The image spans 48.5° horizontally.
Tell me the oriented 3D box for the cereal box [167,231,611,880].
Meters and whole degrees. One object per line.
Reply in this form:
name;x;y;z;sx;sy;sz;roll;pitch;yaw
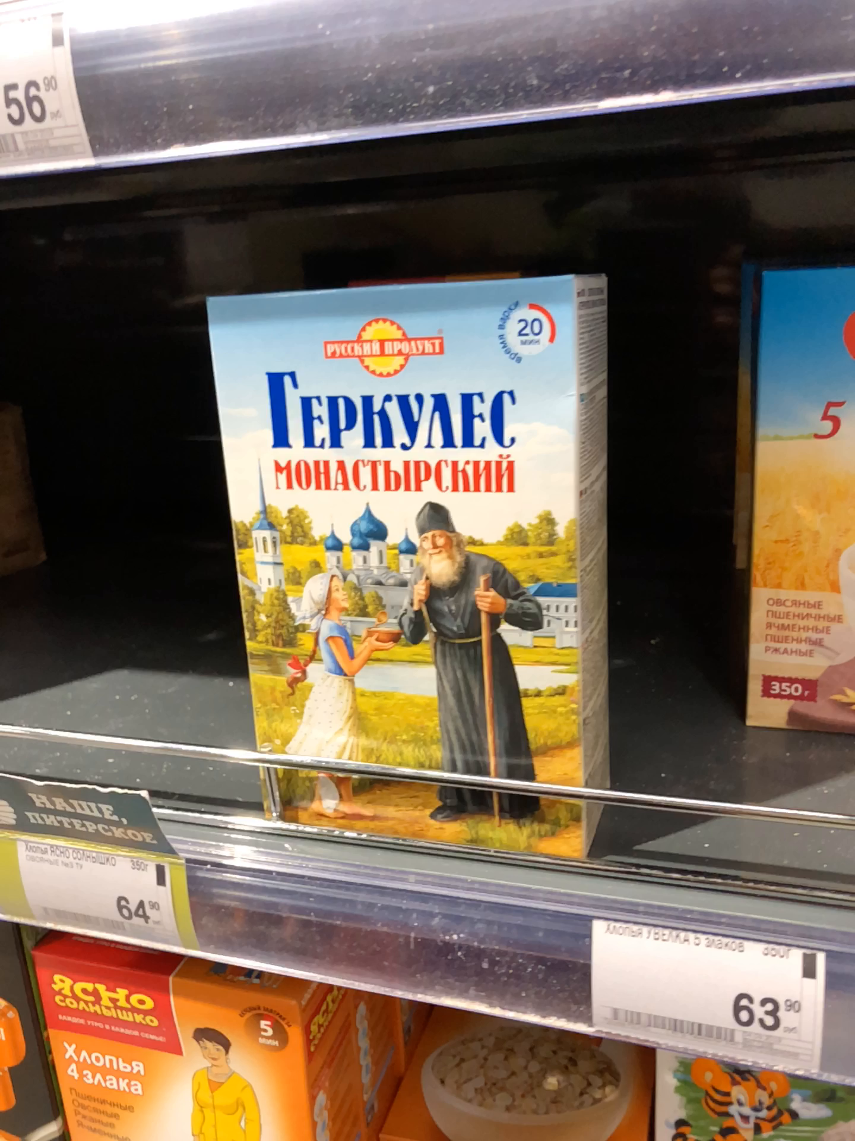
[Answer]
cereal box;-0.006;-0.006;0.330;0.130;0.199;0.060;2;16;17
